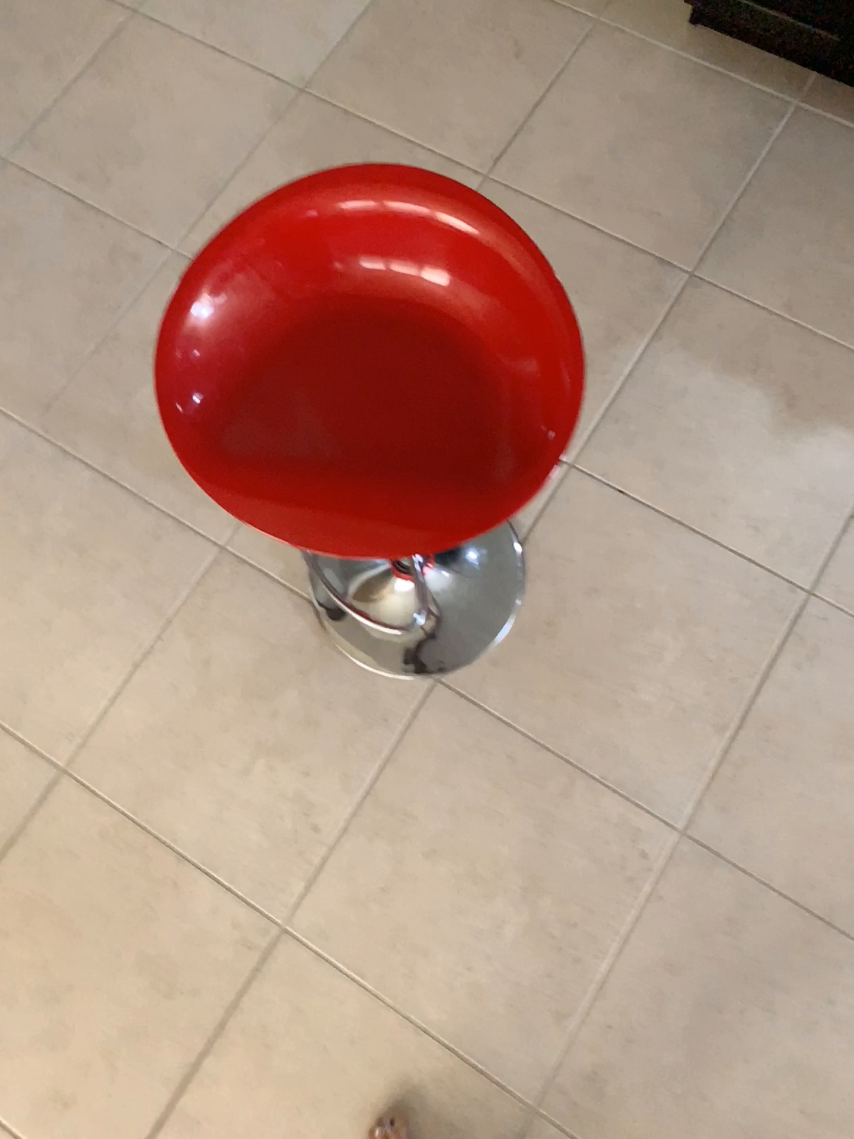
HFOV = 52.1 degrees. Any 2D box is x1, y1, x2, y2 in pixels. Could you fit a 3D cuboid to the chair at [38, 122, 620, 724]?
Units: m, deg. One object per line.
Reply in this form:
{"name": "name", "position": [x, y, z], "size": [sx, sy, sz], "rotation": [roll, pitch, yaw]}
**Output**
{"name": "chair", "position": [-0.056, -0.102, 1.150], "size": [0.437, 0.731, 0.432], "rotation": [12, 74, 7]}
